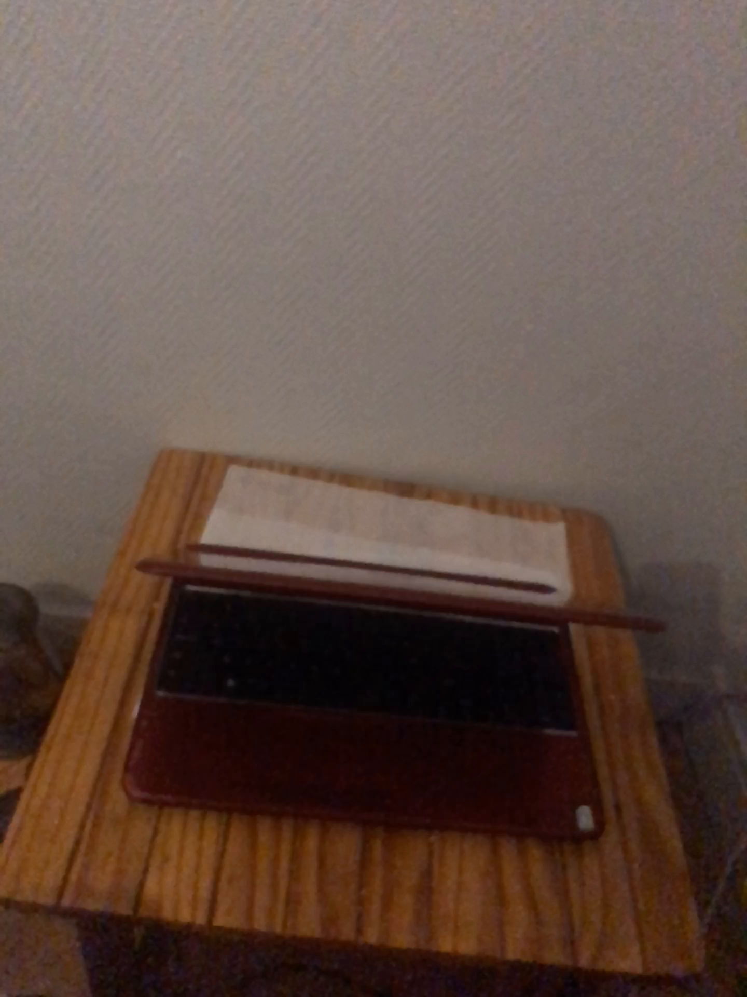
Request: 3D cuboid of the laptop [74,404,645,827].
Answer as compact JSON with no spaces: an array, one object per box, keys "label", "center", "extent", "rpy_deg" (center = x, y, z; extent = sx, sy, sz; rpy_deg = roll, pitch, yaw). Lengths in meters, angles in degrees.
[{"label":"laptop","center":[-0.010,0.093,0.681],"extent":[0.372,0.168,0.254],"rpy_deg":[8,41,-9]}]
